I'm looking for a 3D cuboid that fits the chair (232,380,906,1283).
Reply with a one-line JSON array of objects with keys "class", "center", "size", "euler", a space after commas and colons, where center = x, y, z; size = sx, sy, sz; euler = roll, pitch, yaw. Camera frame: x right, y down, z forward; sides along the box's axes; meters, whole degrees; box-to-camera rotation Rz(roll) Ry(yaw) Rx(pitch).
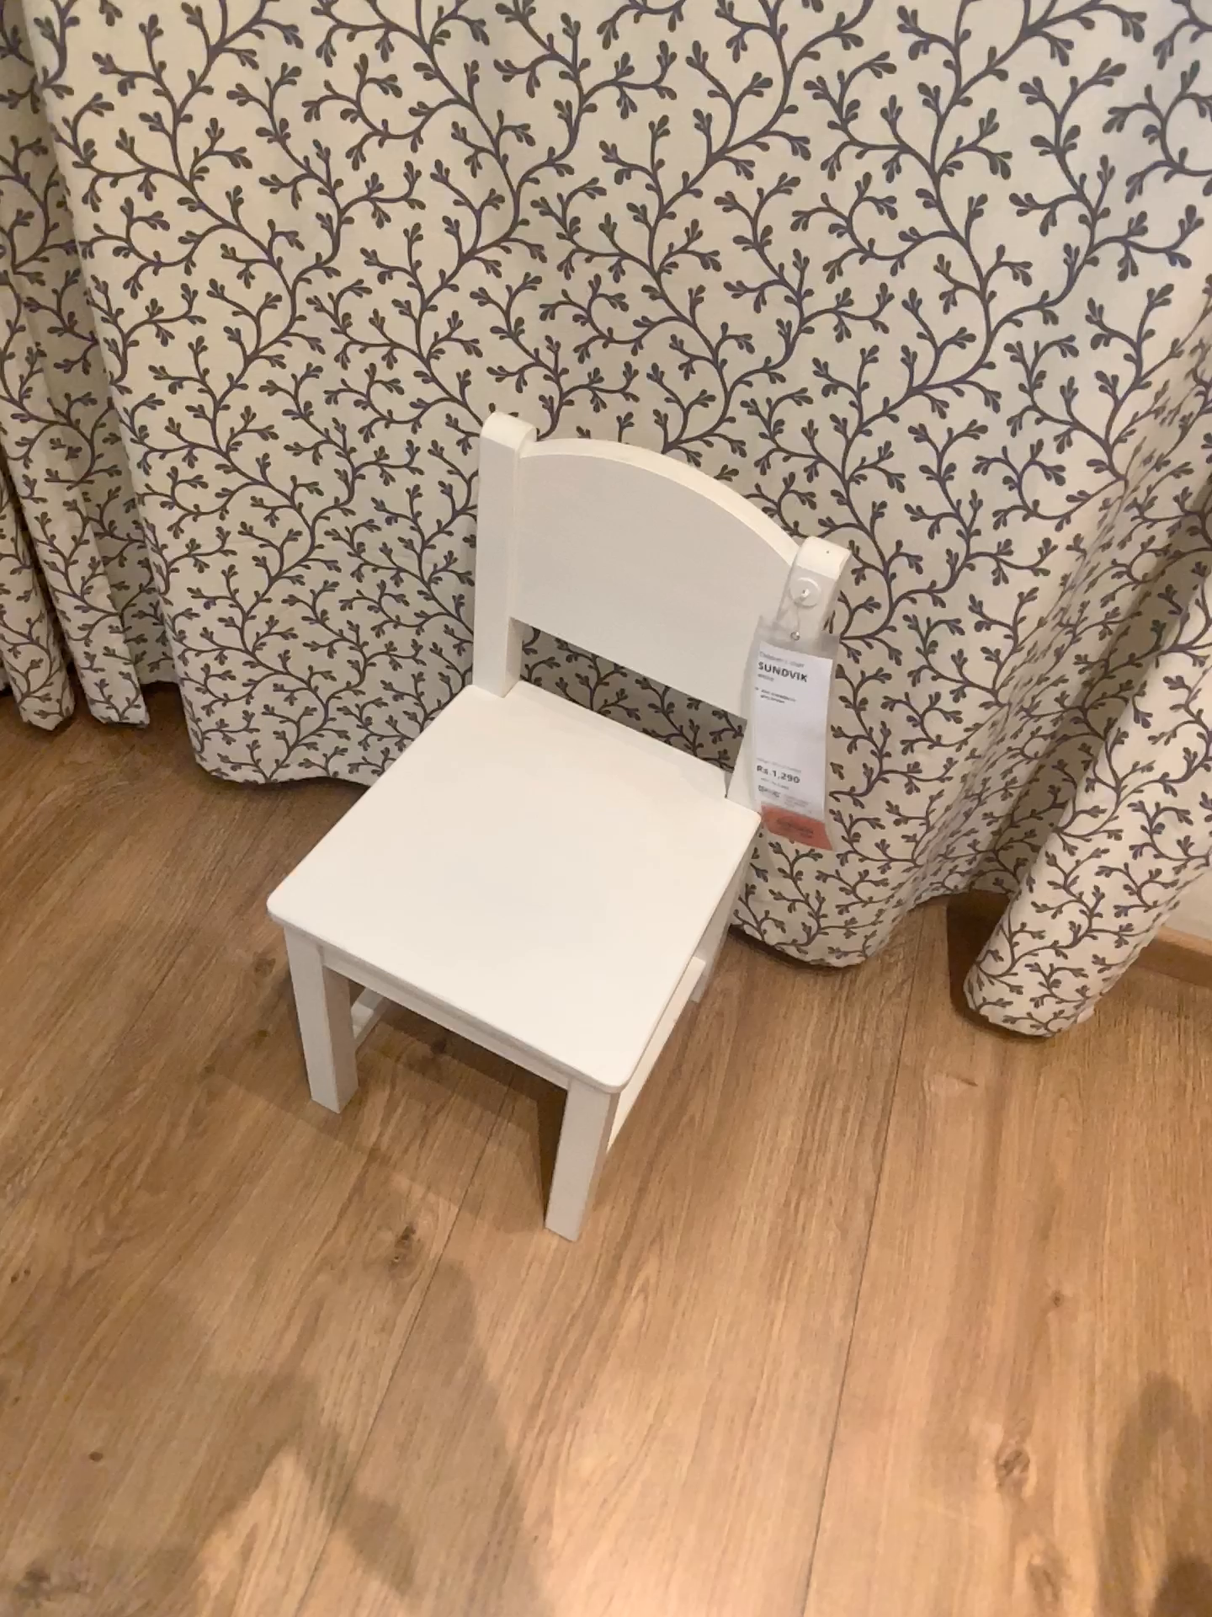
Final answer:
[{"class": "chair", "center": [-0.034, 0.054, 0.897], "size": [0.270, 0.568, 0.291], "euler": [24, 51, 12]}]
